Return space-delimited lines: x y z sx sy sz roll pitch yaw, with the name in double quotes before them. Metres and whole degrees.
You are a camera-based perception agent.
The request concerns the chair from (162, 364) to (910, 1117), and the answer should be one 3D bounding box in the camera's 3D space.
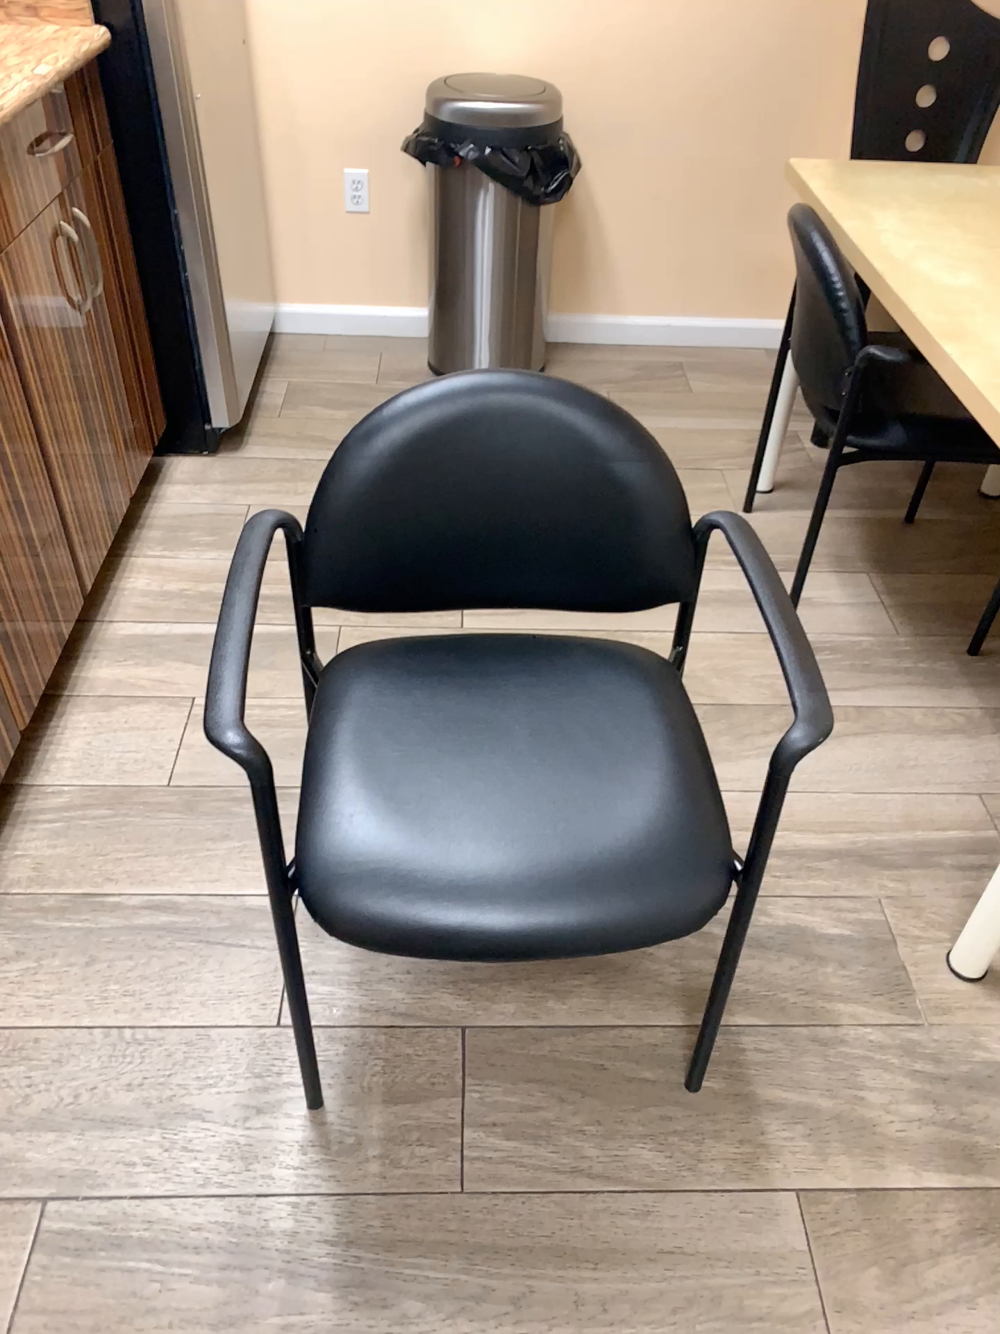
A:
"chair" 0.000 0.097 1.231 0.590 0.736 0.523 -1 41 -5
